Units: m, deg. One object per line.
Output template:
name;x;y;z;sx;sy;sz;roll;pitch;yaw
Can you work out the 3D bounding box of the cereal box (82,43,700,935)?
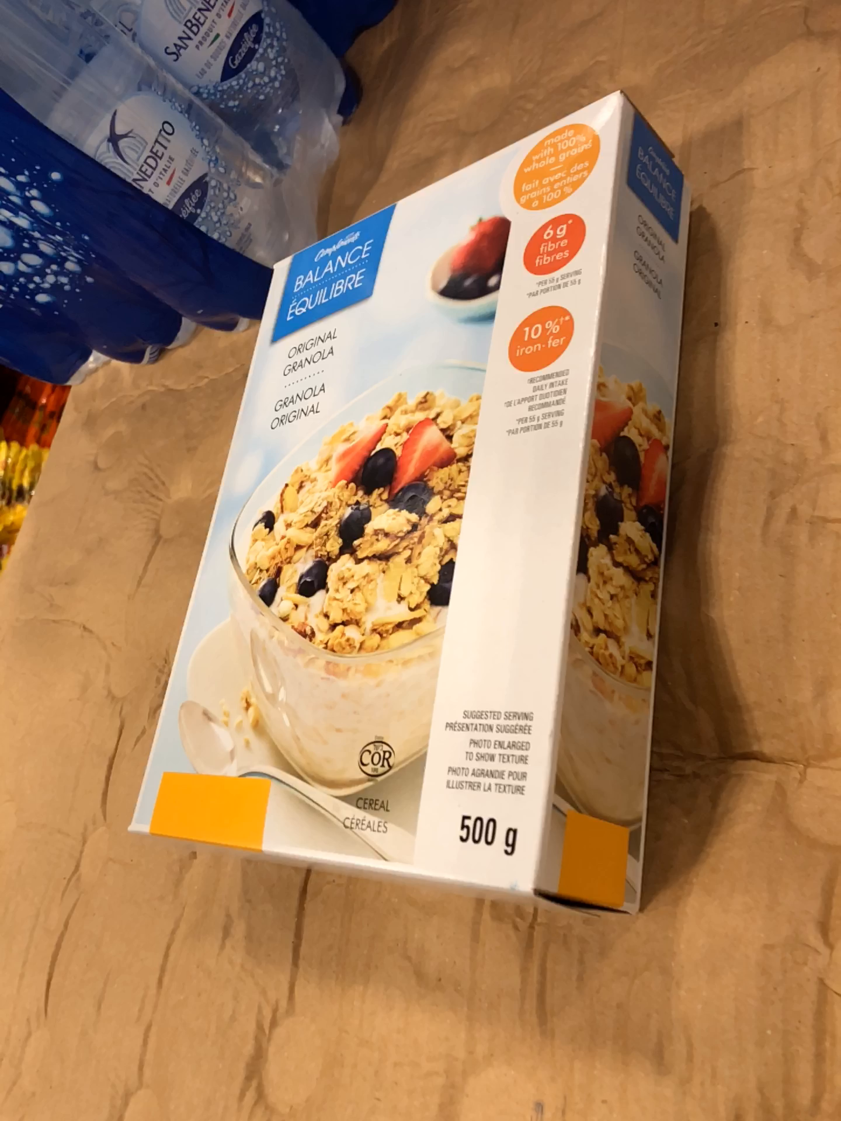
cereal box;-0.010;-0.023;0.315;0.181;0.050;0.250;-8;63;40
